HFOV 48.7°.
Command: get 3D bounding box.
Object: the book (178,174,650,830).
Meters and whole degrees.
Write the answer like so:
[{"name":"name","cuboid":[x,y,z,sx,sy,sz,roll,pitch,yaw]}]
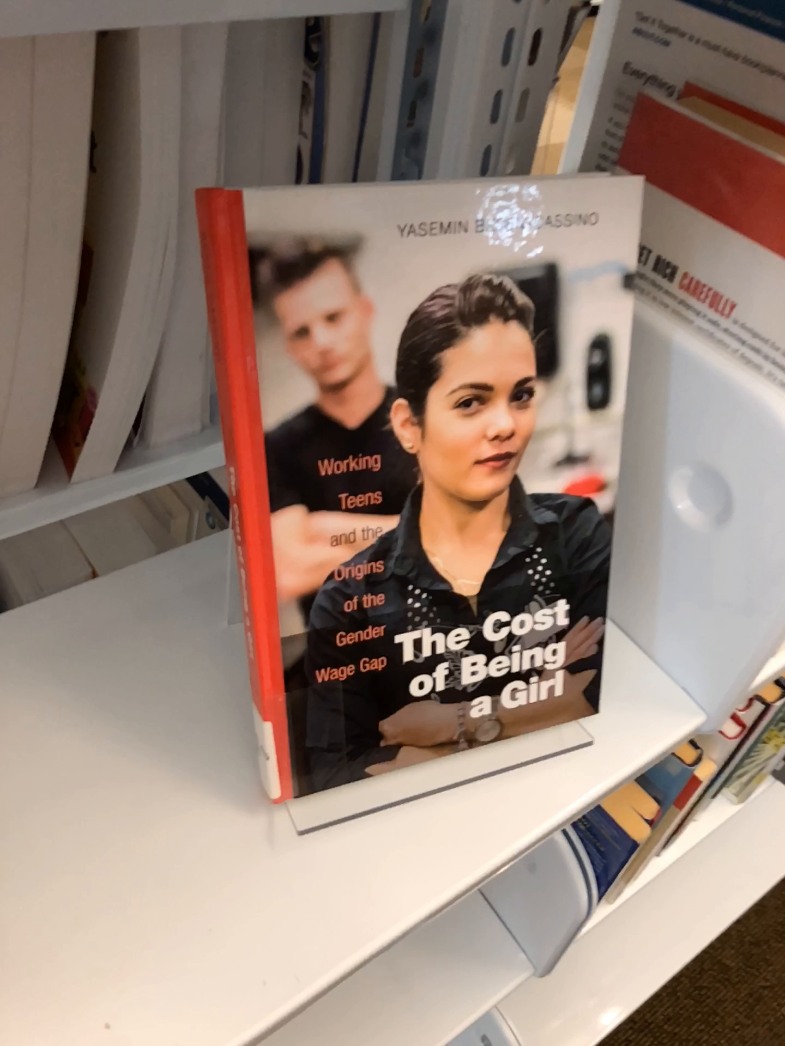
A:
[{"name":"book","cuboid":[0.014,-0.006,0.330,0.157,0.230,0.030,-11,25,-20]}]
